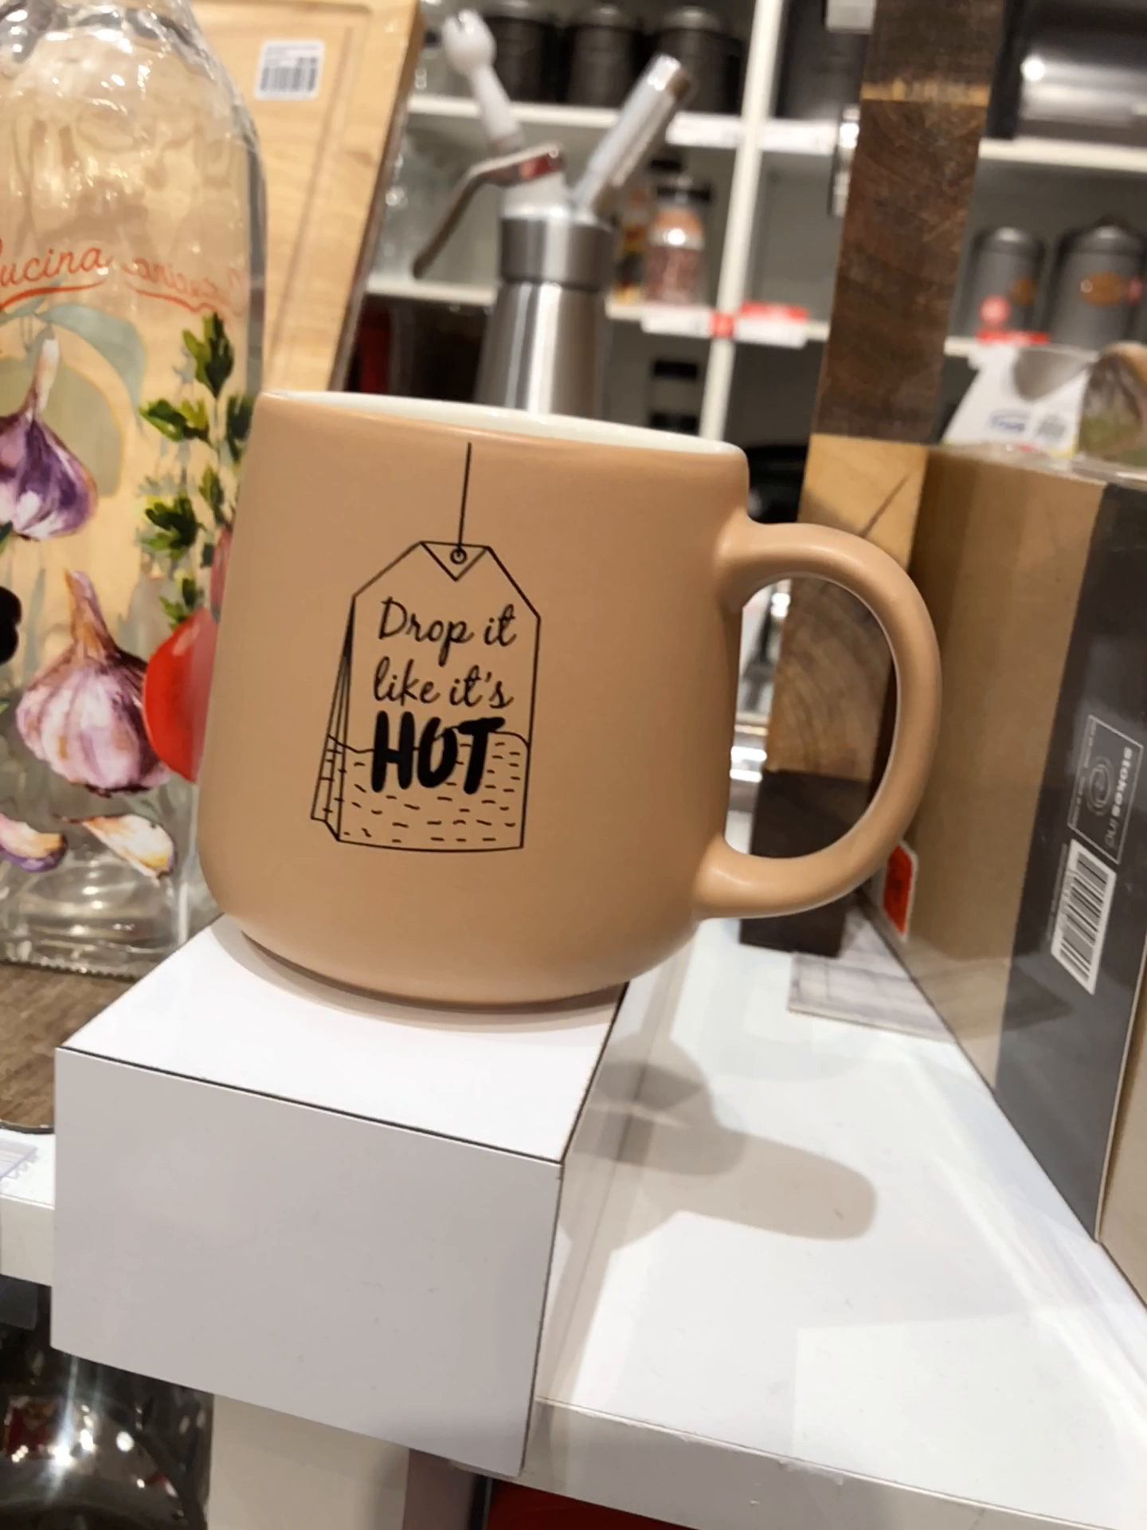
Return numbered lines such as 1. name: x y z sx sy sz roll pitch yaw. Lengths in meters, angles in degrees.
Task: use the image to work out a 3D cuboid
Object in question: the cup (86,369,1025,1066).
1. cup: -0.007 -0.015 0.206 0.110 0.080 0.090 5 16 -5
